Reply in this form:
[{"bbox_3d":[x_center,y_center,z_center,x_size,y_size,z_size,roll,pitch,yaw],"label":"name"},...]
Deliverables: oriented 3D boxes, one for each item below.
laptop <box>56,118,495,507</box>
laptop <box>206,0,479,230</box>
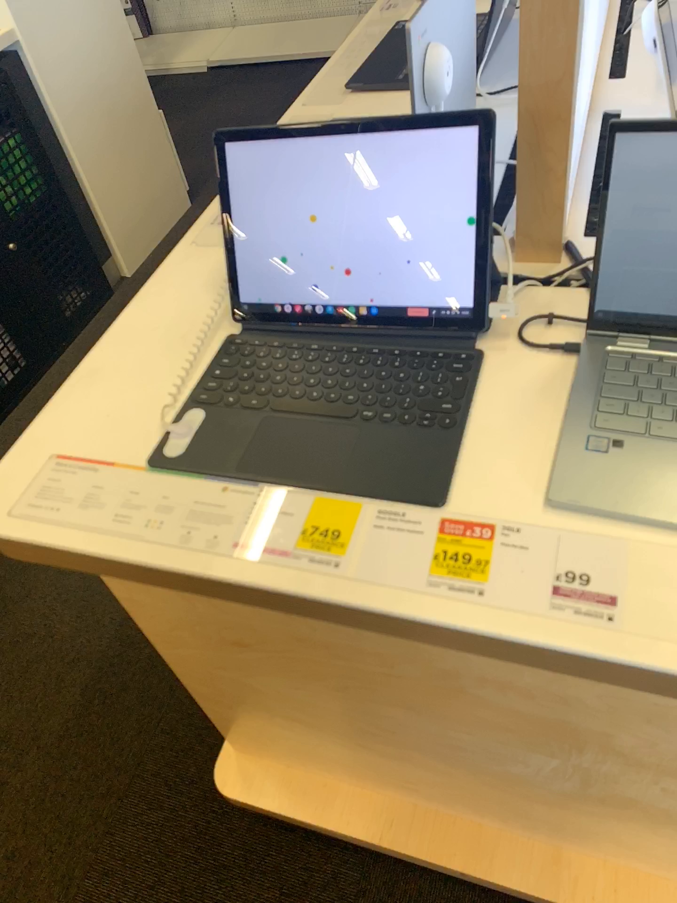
[{"bbox_3d":[-0.022,-0.141,0.634,0.285,0.187,0.295,6,49,18],"label":"laptop"},{"bbox_3d":[0.033,-0.483,0.902,0.233,0.222,0.321,8,50,19],"label":"laptop"}]
